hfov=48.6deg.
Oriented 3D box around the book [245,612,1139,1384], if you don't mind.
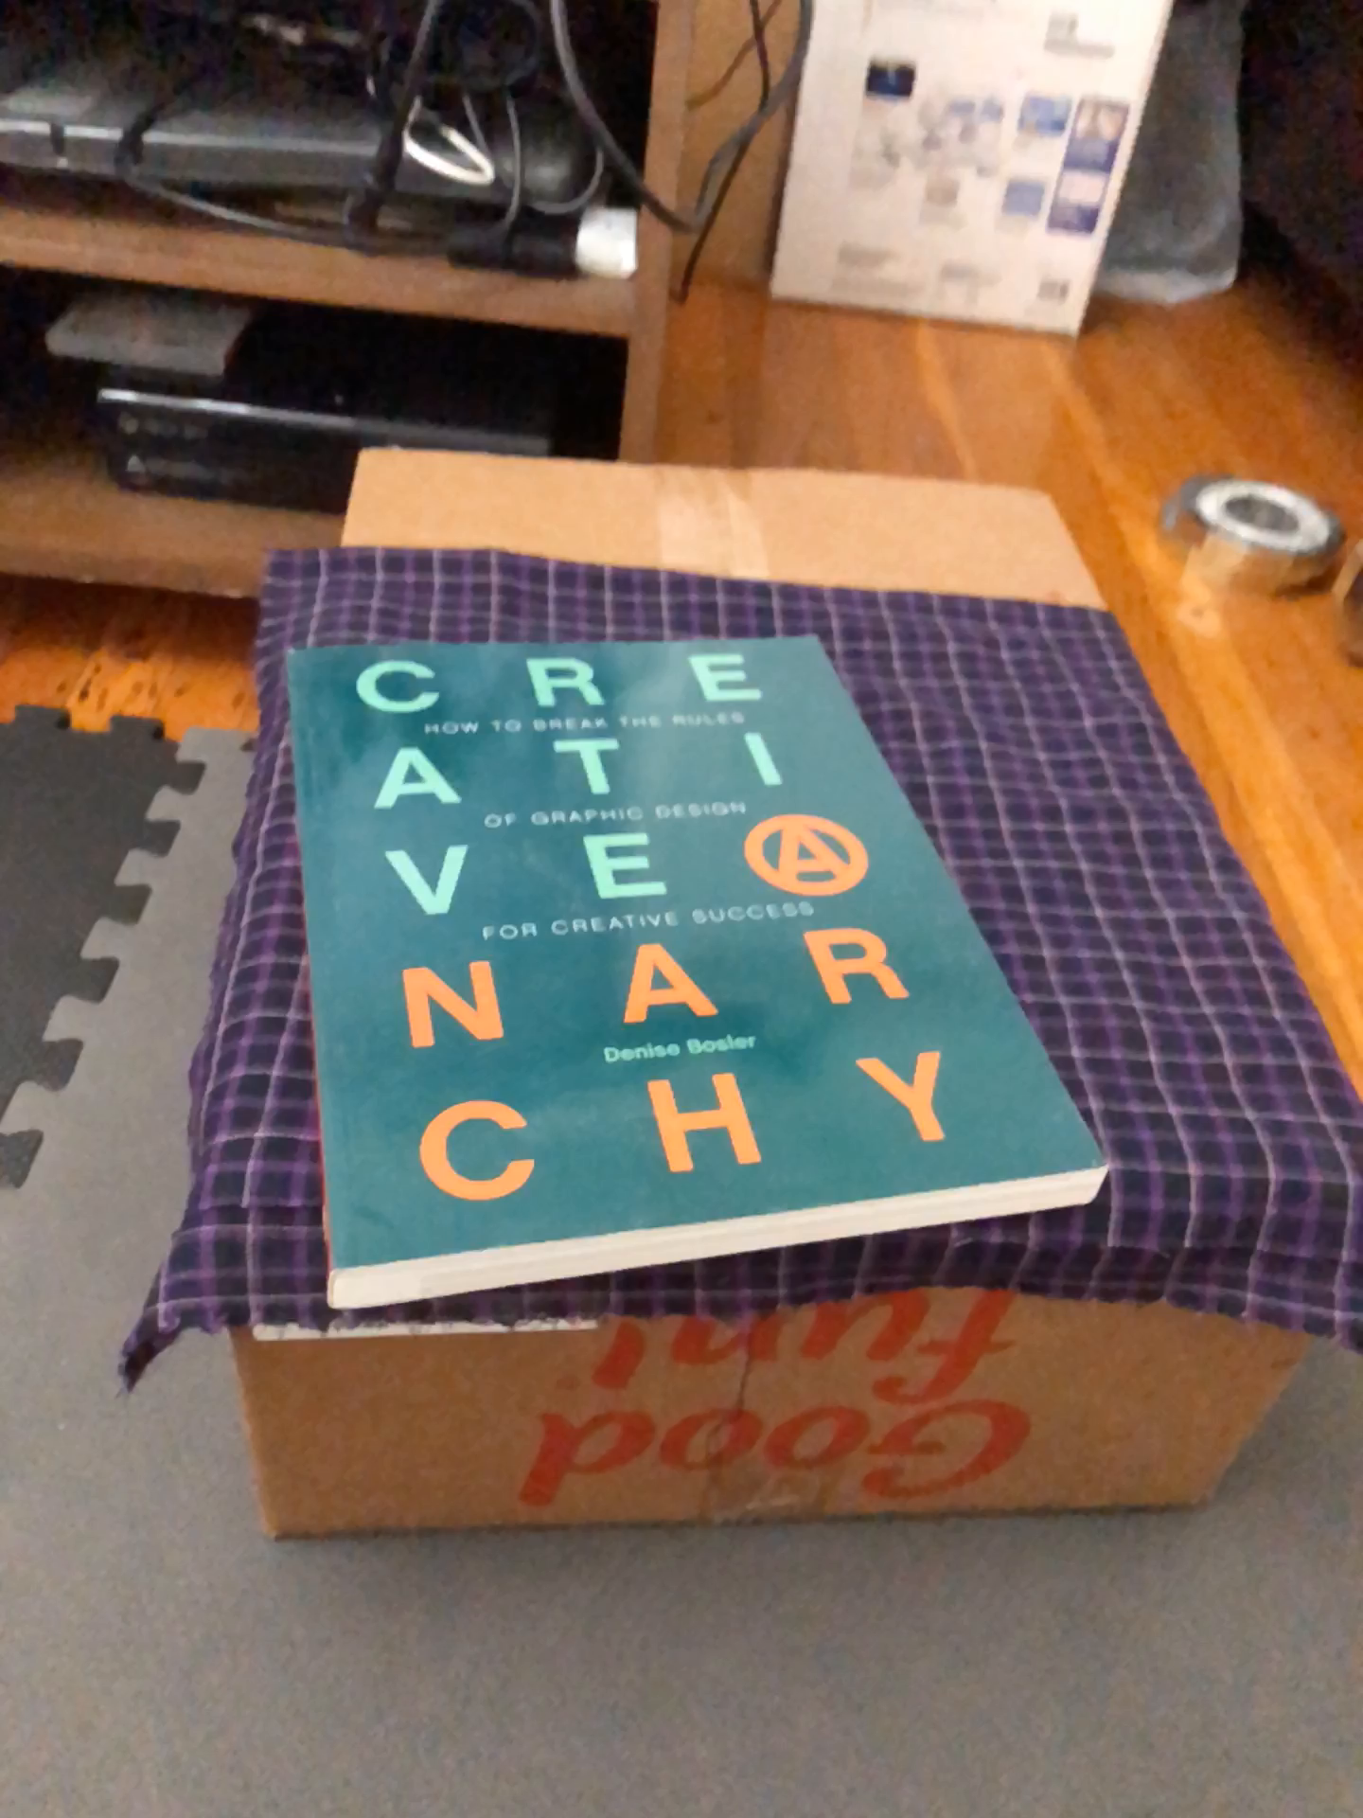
[{"bbox_3d":[-0.021,-0.004,0.485,0.220,0.020,0.301,-5,43,-14],"label":"book"}]
